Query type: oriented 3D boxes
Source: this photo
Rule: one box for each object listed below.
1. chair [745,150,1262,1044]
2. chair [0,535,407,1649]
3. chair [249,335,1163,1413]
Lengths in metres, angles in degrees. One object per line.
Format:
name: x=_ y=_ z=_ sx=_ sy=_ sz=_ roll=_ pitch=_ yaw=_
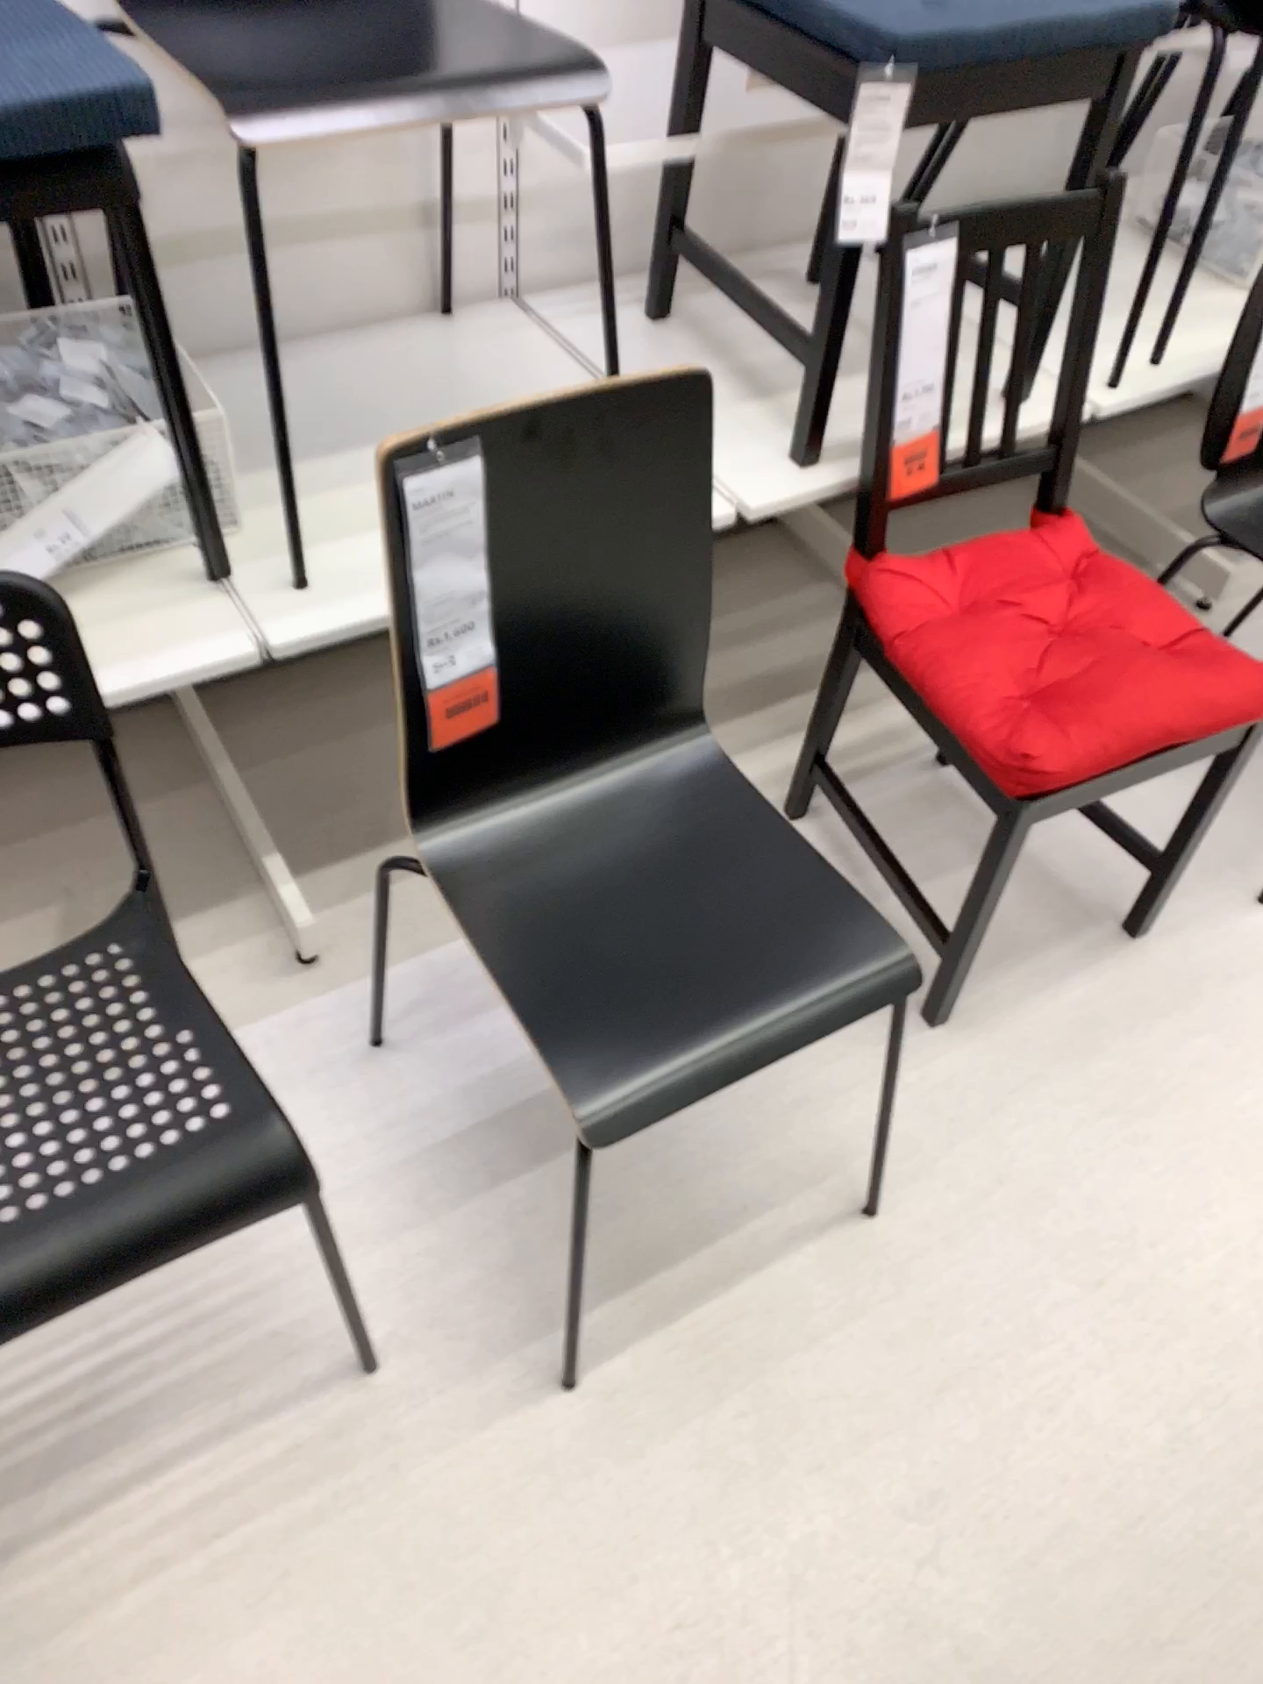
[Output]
chair: x=0.514 y=-0.263 z=1.538 sx=0.450 sy=0.857 sz=0.481 roll=-20 pitch=53 yaw=-22
chair: x=-0.549 y=0.234 z=1.132 sx=0.471 sy=0.727 sz=0.532 roll=-22 pitch=53 yaw=-23
chair: x=0.004 y=0.051 z=1.308 sx=0.480 sy=0.827 sz=0.592 roll=-21 pitch=53 yaw=-23
